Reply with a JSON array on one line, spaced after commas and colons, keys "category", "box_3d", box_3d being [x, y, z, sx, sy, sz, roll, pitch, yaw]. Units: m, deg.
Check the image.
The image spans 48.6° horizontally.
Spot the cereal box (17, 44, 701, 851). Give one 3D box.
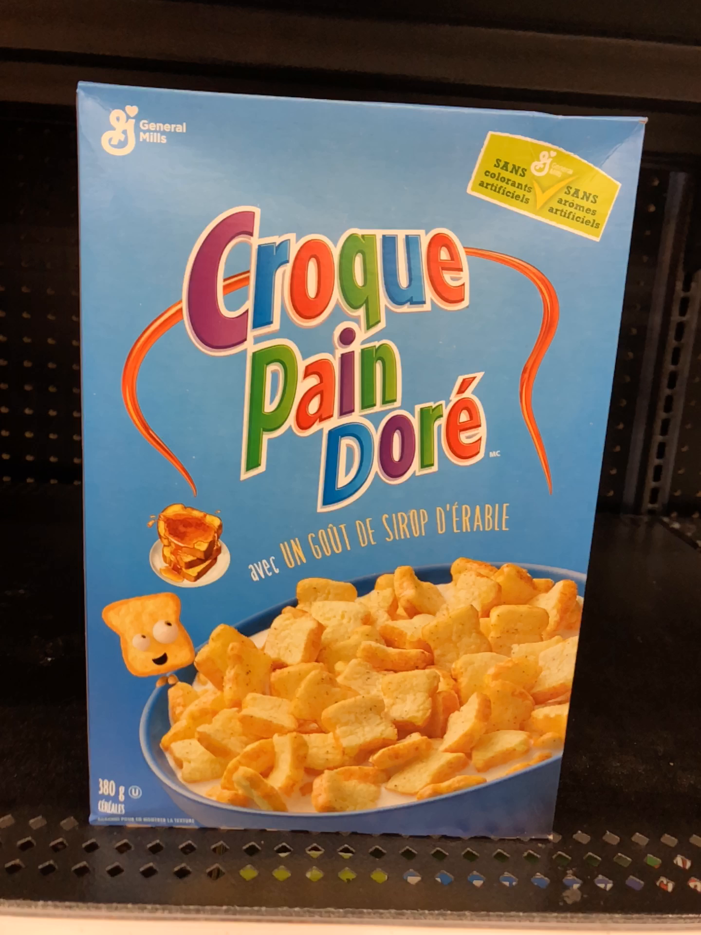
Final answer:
[{"category": "cereal box", "box_3d": [-0.003, 0.006, 0.288, 0.210, 0.269, 0.050, 3, 13, -4]}]
